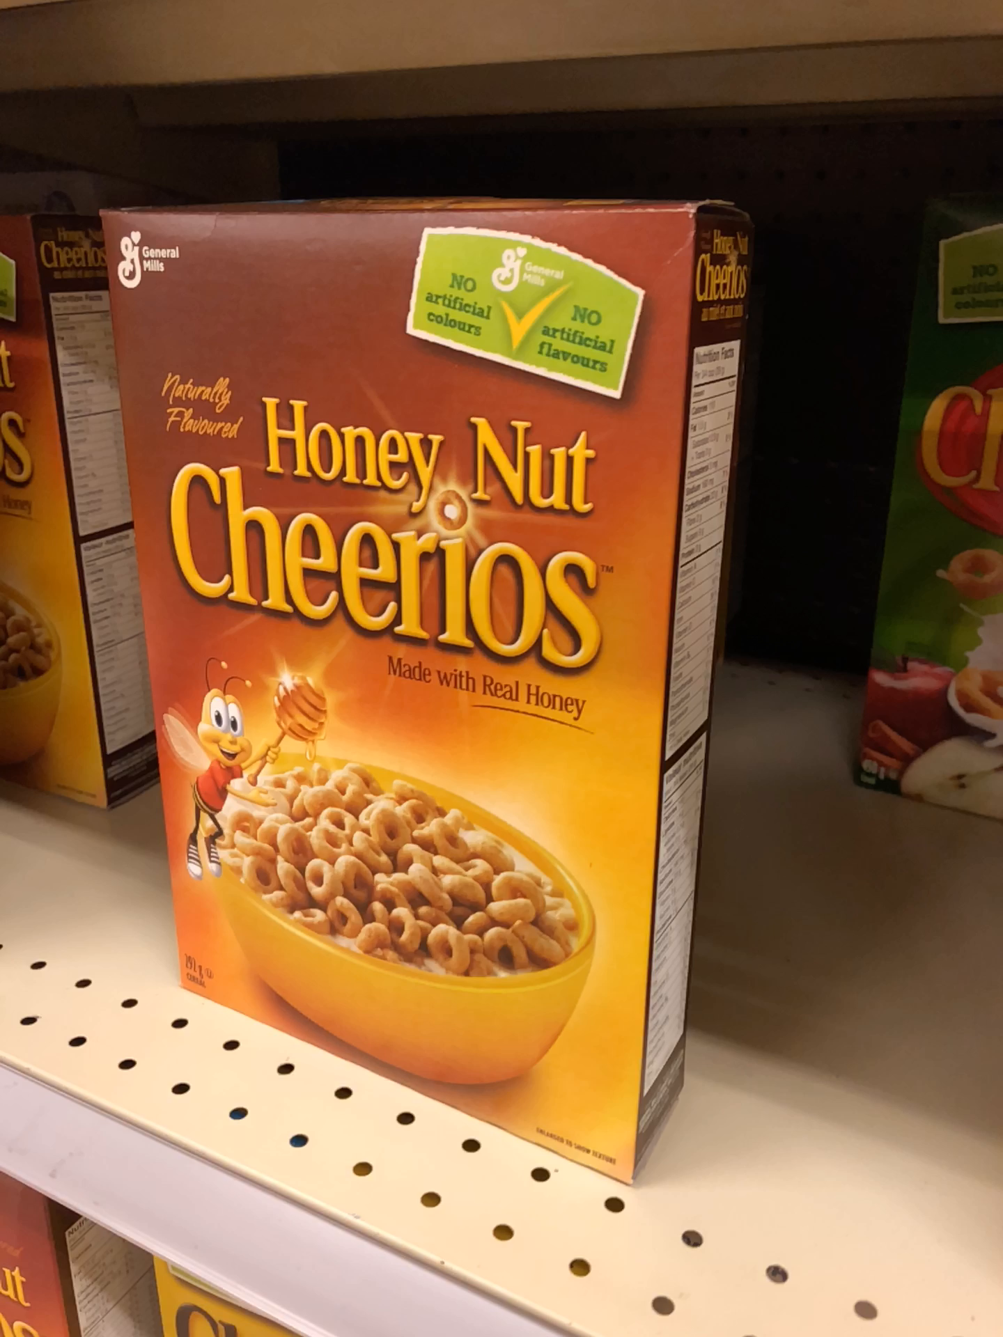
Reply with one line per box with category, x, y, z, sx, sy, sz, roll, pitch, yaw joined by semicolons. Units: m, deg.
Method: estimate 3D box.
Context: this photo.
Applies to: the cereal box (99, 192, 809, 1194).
cereal box;-0.022;0.000;0.346;0.190;0.269;0.060;12;23;28
